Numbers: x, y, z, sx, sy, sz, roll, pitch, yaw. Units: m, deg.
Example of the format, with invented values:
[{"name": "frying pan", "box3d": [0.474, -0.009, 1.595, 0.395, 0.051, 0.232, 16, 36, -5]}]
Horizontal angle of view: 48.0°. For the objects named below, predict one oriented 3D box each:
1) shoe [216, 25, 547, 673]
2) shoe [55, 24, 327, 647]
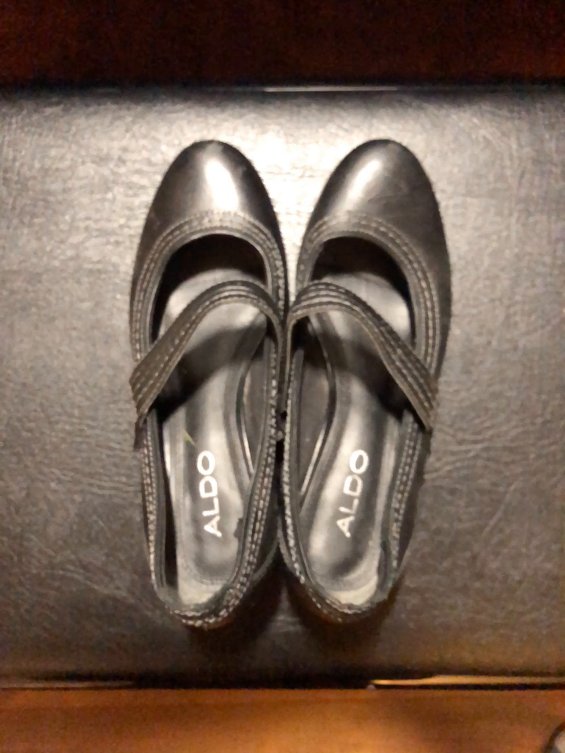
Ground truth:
[{"name": "shoe", "box3d": [0.041, -0.012, 0.298, 0.100, 0.110, 0.240, 7, 86, 1]}, {"name": "shoe", "box3d": [-0.037, -0.016, 0.301, 0.100, 0.110, 0.240, -2, 86, 1]}]
